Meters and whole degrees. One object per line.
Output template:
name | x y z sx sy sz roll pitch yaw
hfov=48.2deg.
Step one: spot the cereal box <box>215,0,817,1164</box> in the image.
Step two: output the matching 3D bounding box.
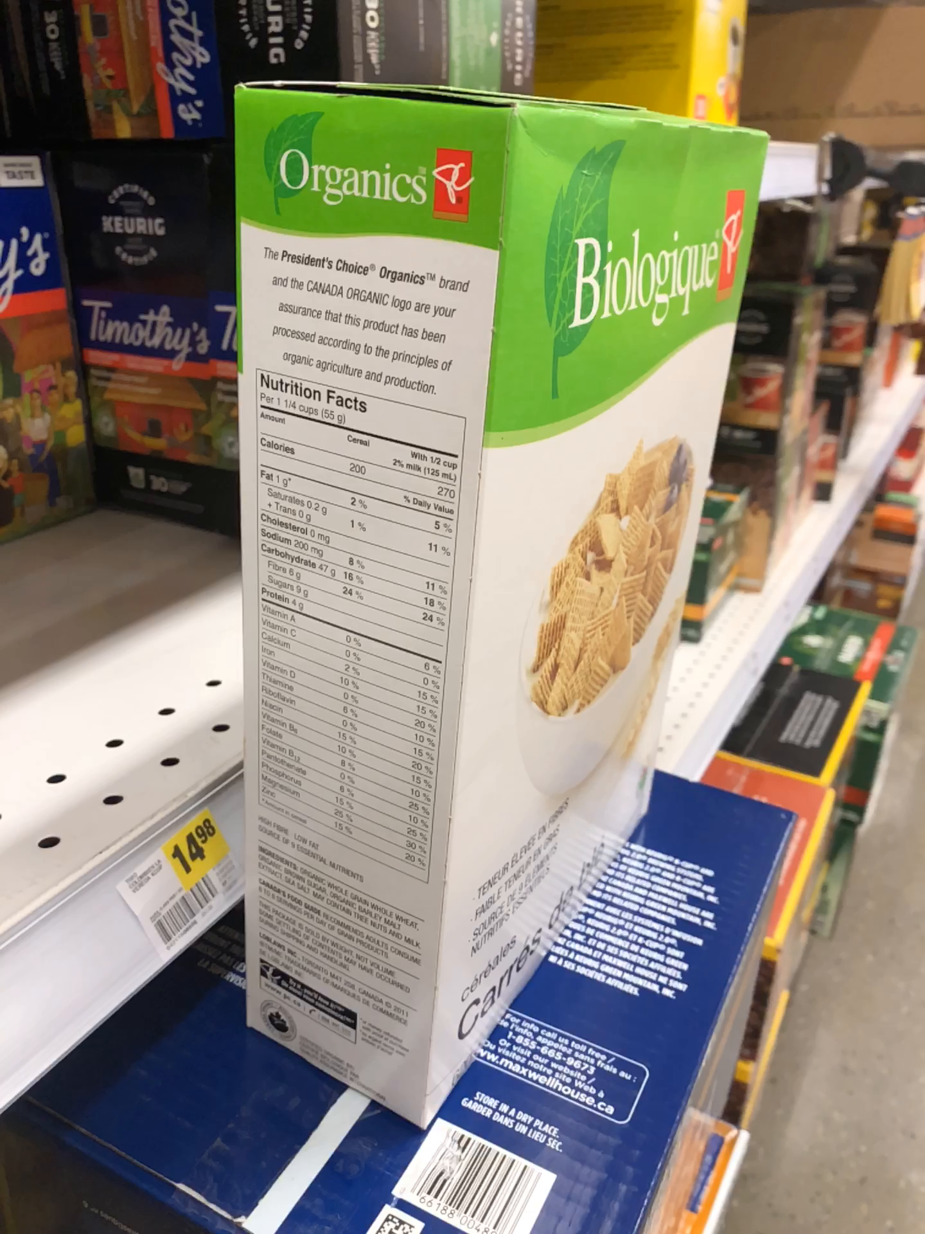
cereal box | 0.020 -0.019 0.332 0.070 0.289 0.211 19 29 24
